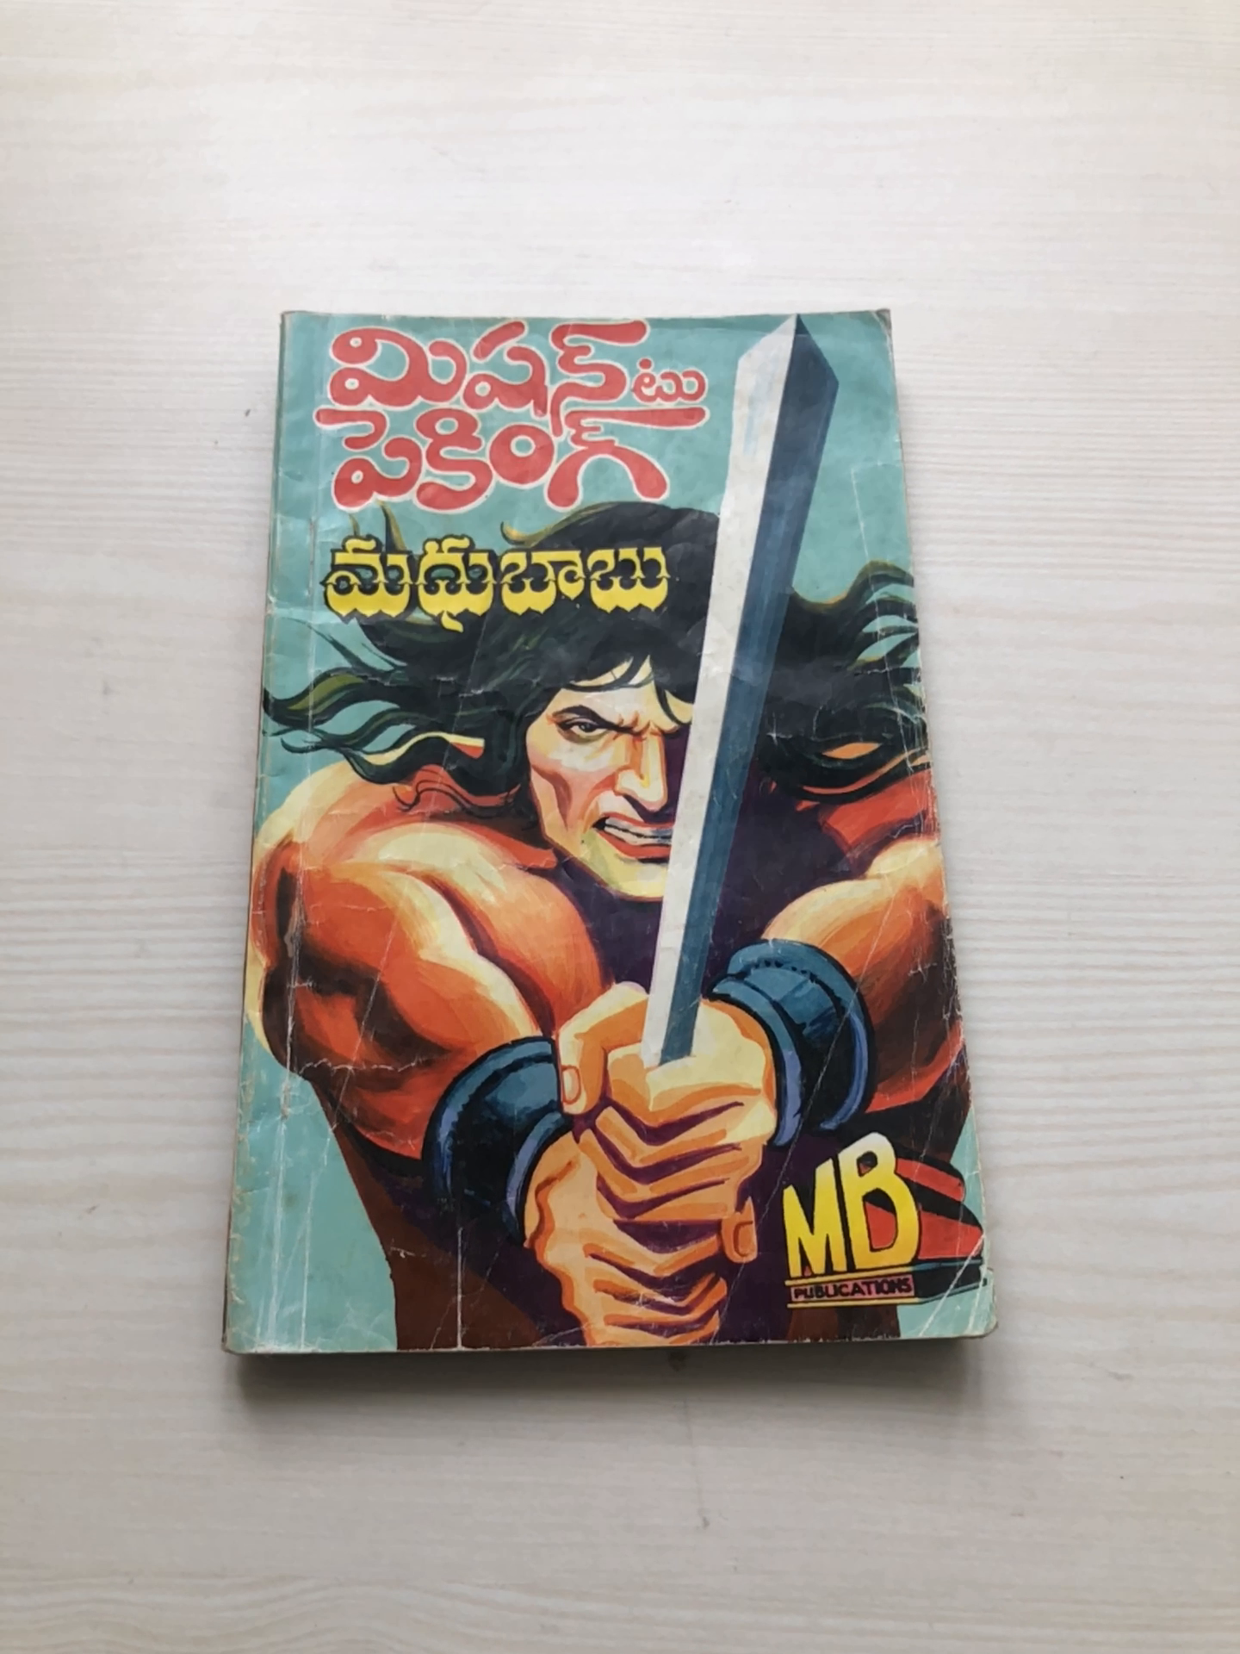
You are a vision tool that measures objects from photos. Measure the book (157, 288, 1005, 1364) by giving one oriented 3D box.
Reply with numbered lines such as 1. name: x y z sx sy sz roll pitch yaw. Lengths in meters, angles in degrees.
1. book: -0.006 -0.005 0.201 0.100 0.030 0.150 -1 72 -1
